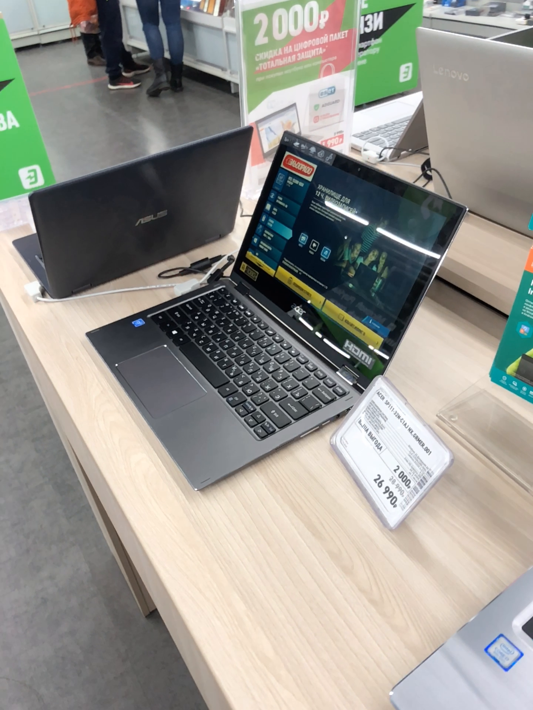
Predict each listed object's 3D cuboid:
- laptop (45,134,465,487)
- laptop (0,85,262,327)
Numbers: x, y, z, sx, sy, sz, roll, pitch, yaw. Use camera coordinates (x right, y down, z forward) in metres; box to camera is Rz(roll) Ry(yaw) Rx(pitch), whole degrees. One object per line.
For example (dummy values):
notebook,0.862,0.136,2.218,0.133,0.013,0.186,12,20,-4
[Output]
laptop,-0.017,-0.079,0.623,0.303,0.168,0.288,-25,43,-23
laptop,-0.205,-0.229,0.823,0.275,0.174,0.288,-25,43,-23
